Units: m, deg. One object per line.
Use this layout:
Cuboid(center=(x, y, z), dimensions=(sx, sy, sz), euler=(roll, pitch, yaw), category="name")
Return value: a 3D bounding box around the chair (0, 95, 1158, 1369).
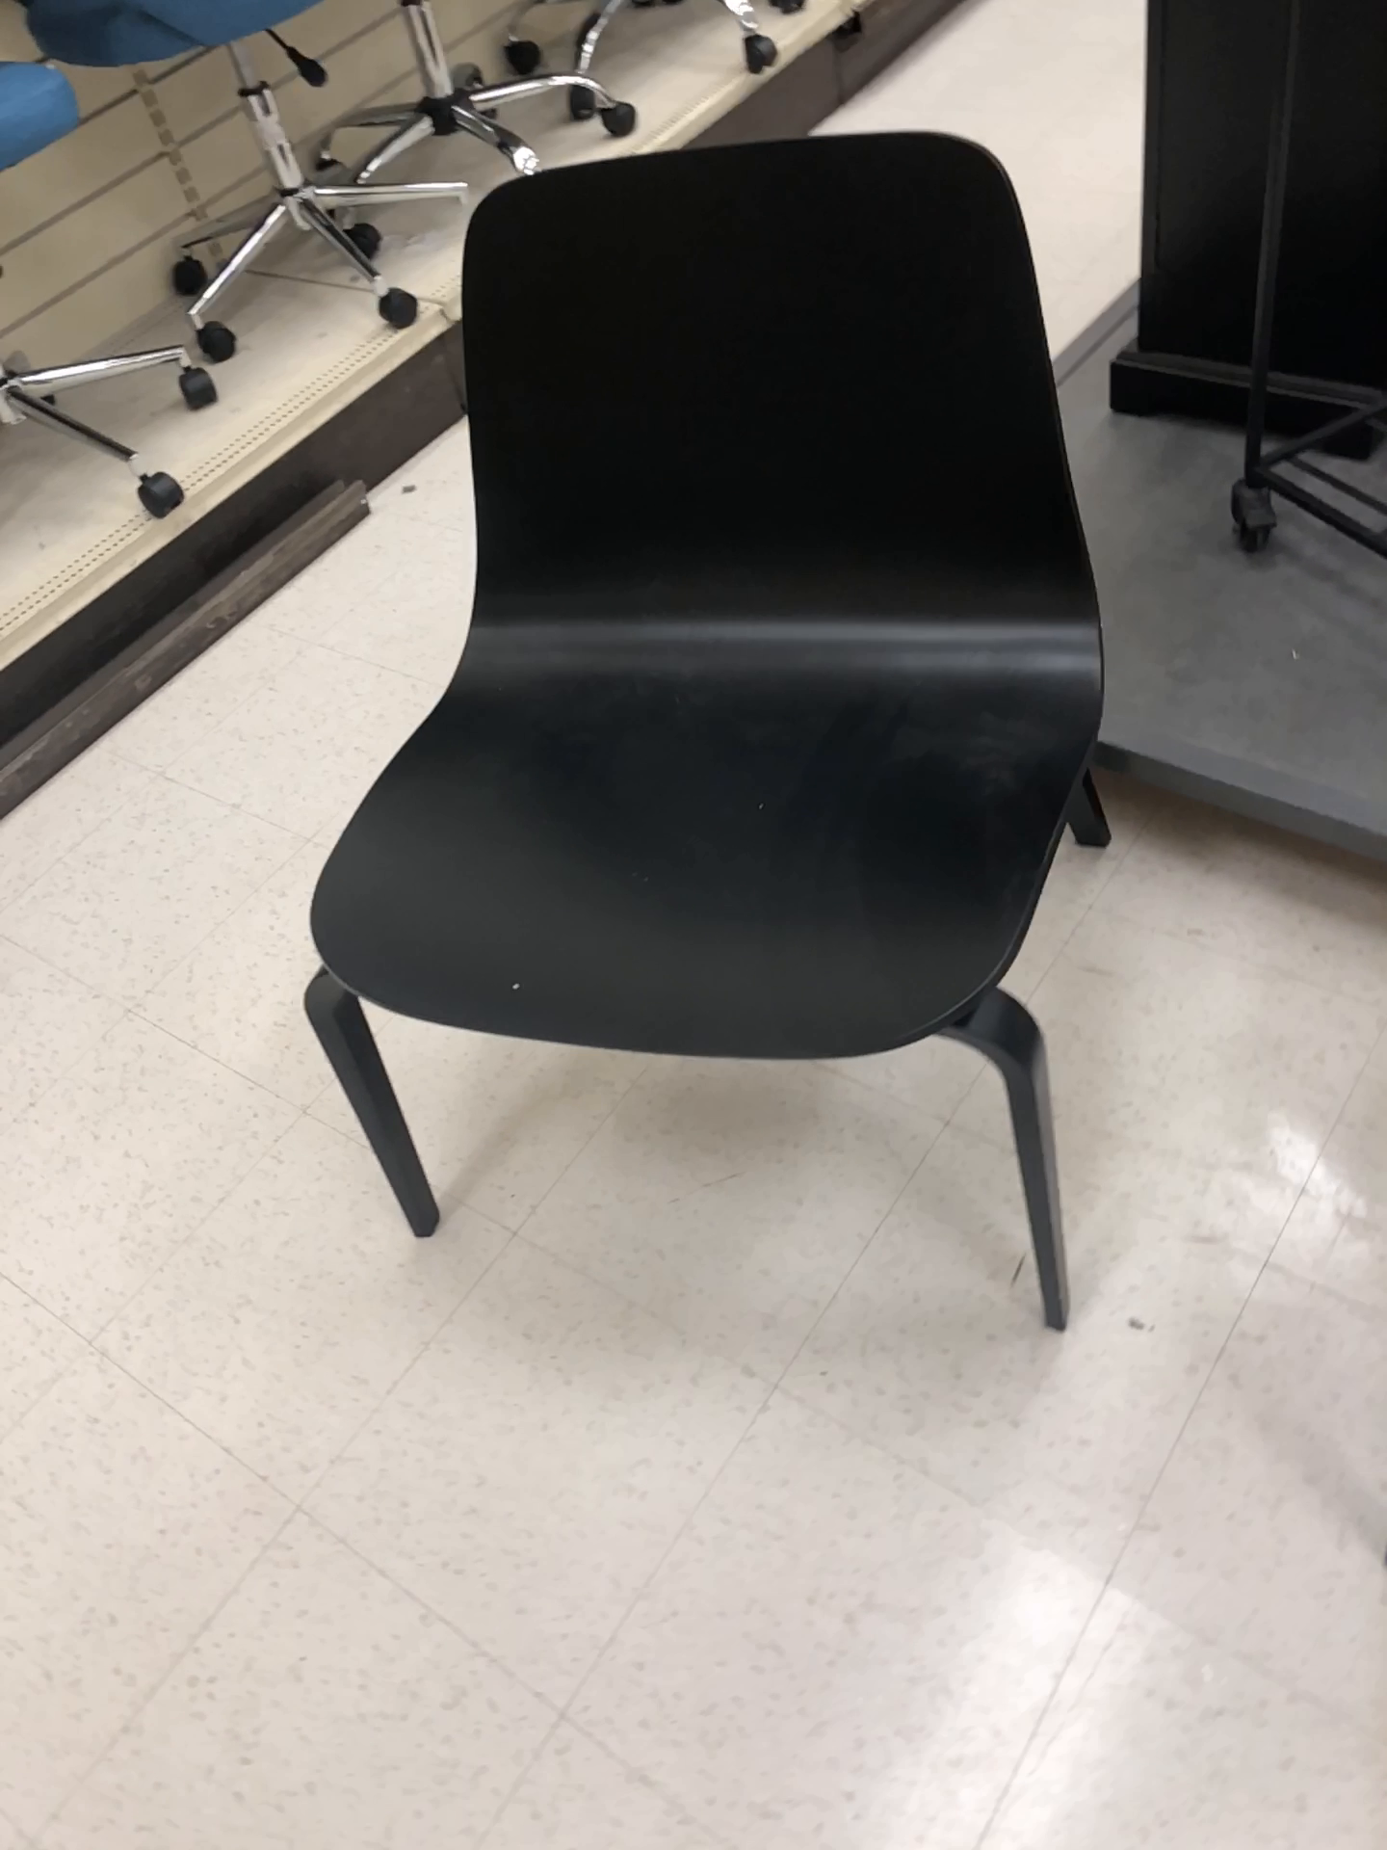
Cuboid(center=(0.017, -0.143, 1.261), dimensions=(0.641, 0.717, 0.632), euler=(4, 49, 19), category="chair")
